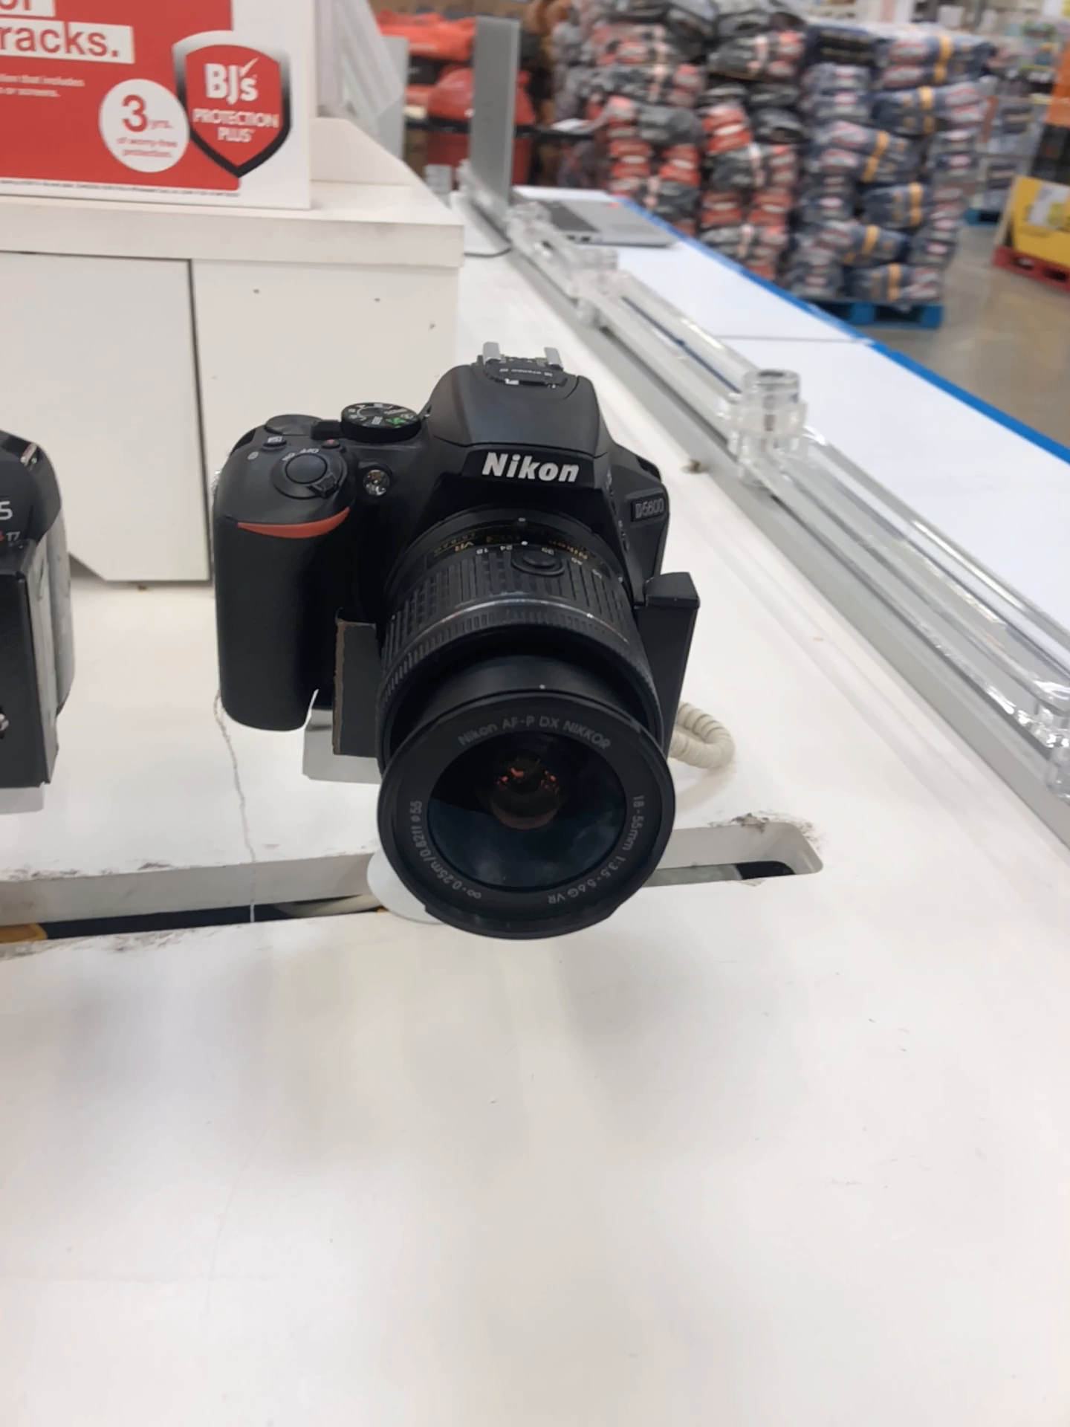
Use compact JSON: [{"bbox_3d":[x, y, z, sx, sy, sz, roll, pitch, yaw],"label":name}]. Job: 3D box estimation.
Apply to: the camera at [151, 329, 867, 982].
[{"bbox_3d":[-0.017,-0.025,0.281,0.120,0.089,0.151,0,30,-10],"label":"camera"}]
